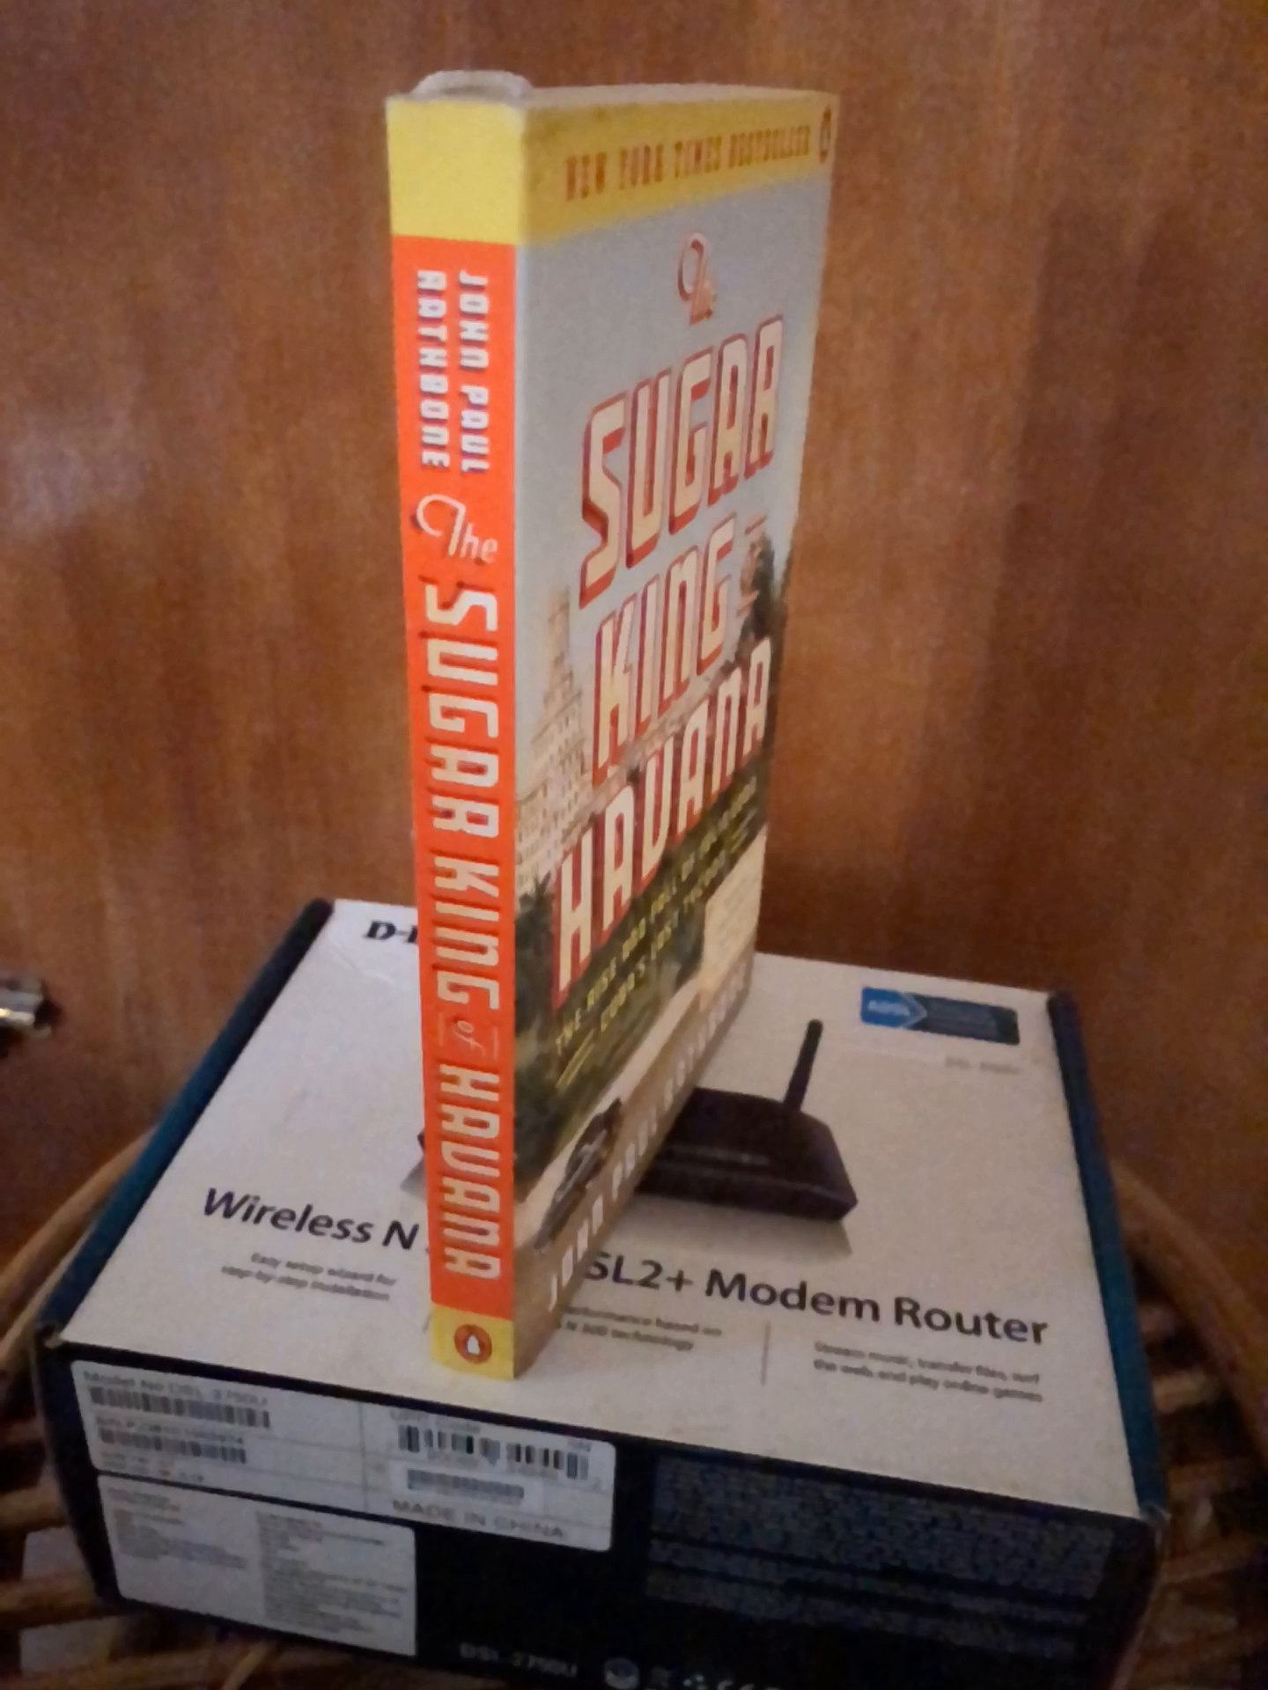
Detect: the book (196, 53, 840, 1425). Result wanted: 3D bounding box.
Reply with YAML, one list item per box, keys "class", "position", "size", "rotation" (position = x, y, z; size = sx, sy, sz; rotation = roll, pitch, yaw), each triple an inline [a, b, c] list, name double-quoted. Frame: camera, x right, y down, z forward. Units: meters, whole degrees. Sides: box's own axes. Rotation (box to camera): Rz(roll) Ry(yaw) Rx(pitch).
- class: "book"
  position: [-0.005, -0.026, 0.264]
  size: [0.030, 0.209, 0.151]
  rotation: [12, 33, 20]
